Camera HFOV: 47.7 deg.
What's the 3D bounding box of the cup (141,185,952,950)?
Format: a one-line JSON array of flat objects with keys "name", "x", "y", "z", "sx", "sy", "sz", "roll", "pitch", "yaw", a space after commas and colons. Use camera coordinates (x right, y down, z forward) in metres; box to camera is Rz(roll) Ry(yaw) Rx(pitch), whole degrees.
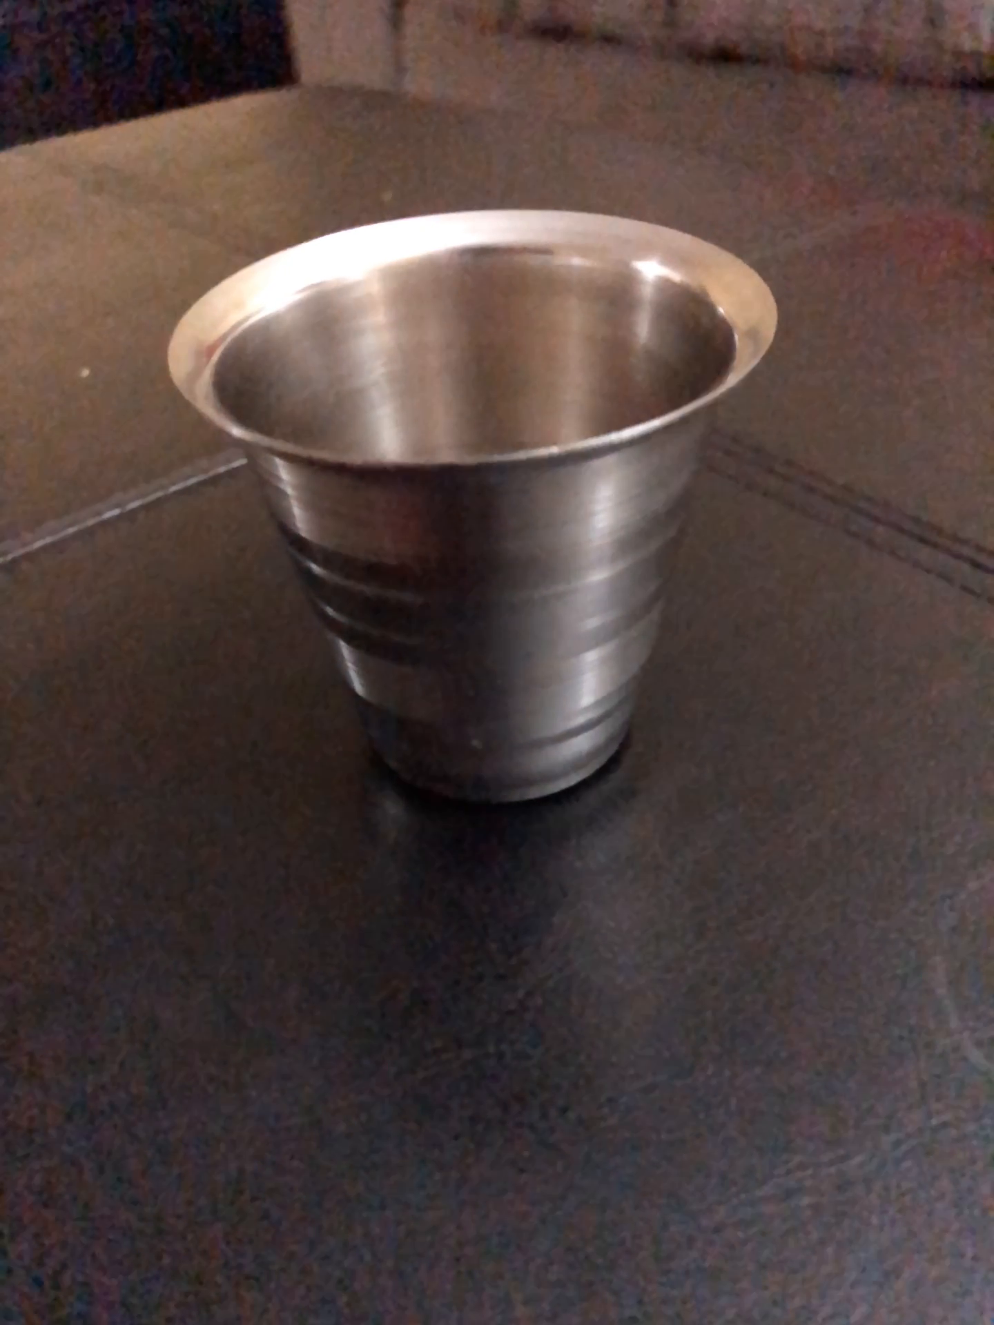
[{"name": "cup", "x": 0.000, "y": -0.019, "z": 0.142, "sx": 0.067, "sy": 0.052, "sz": 0.074, "roll": -3, "pitch": 37, "yaw": 2}]
